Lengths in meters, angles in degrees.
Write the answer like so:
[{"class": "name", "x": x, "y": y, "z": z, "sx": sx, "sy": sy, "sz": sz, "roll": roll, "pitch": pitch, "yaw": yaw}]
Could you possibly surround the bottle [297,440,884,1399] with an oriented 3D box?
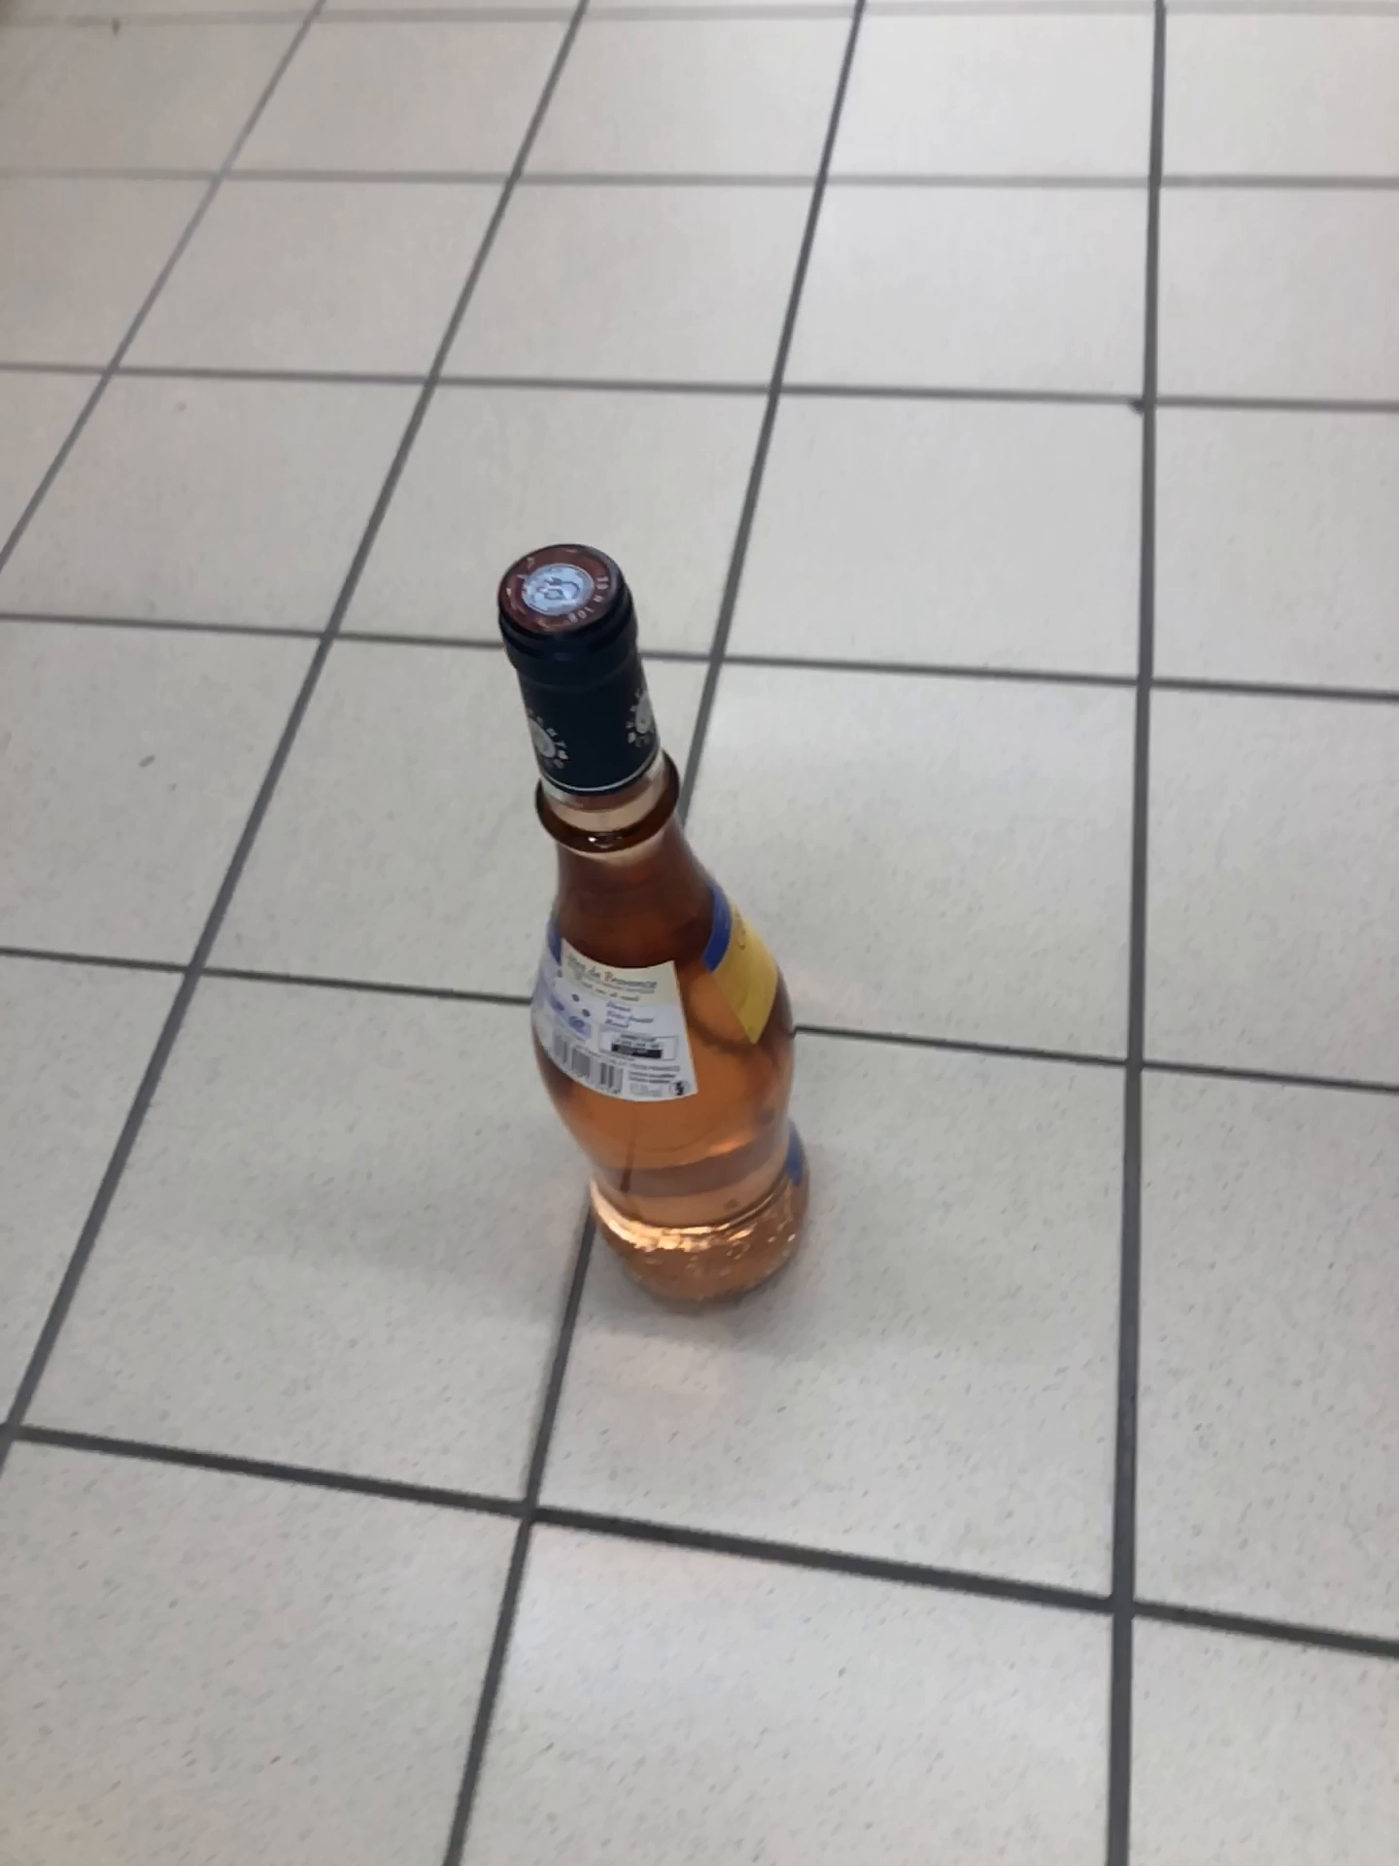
[{"class": "bottle", "x": -0.007, "y": 0.026, "z": 0.446, "sx": 0.090, "sy": 0.318, "sz": 0.080, "roll": 32, "pitch": 65, "yaw": 25}]
